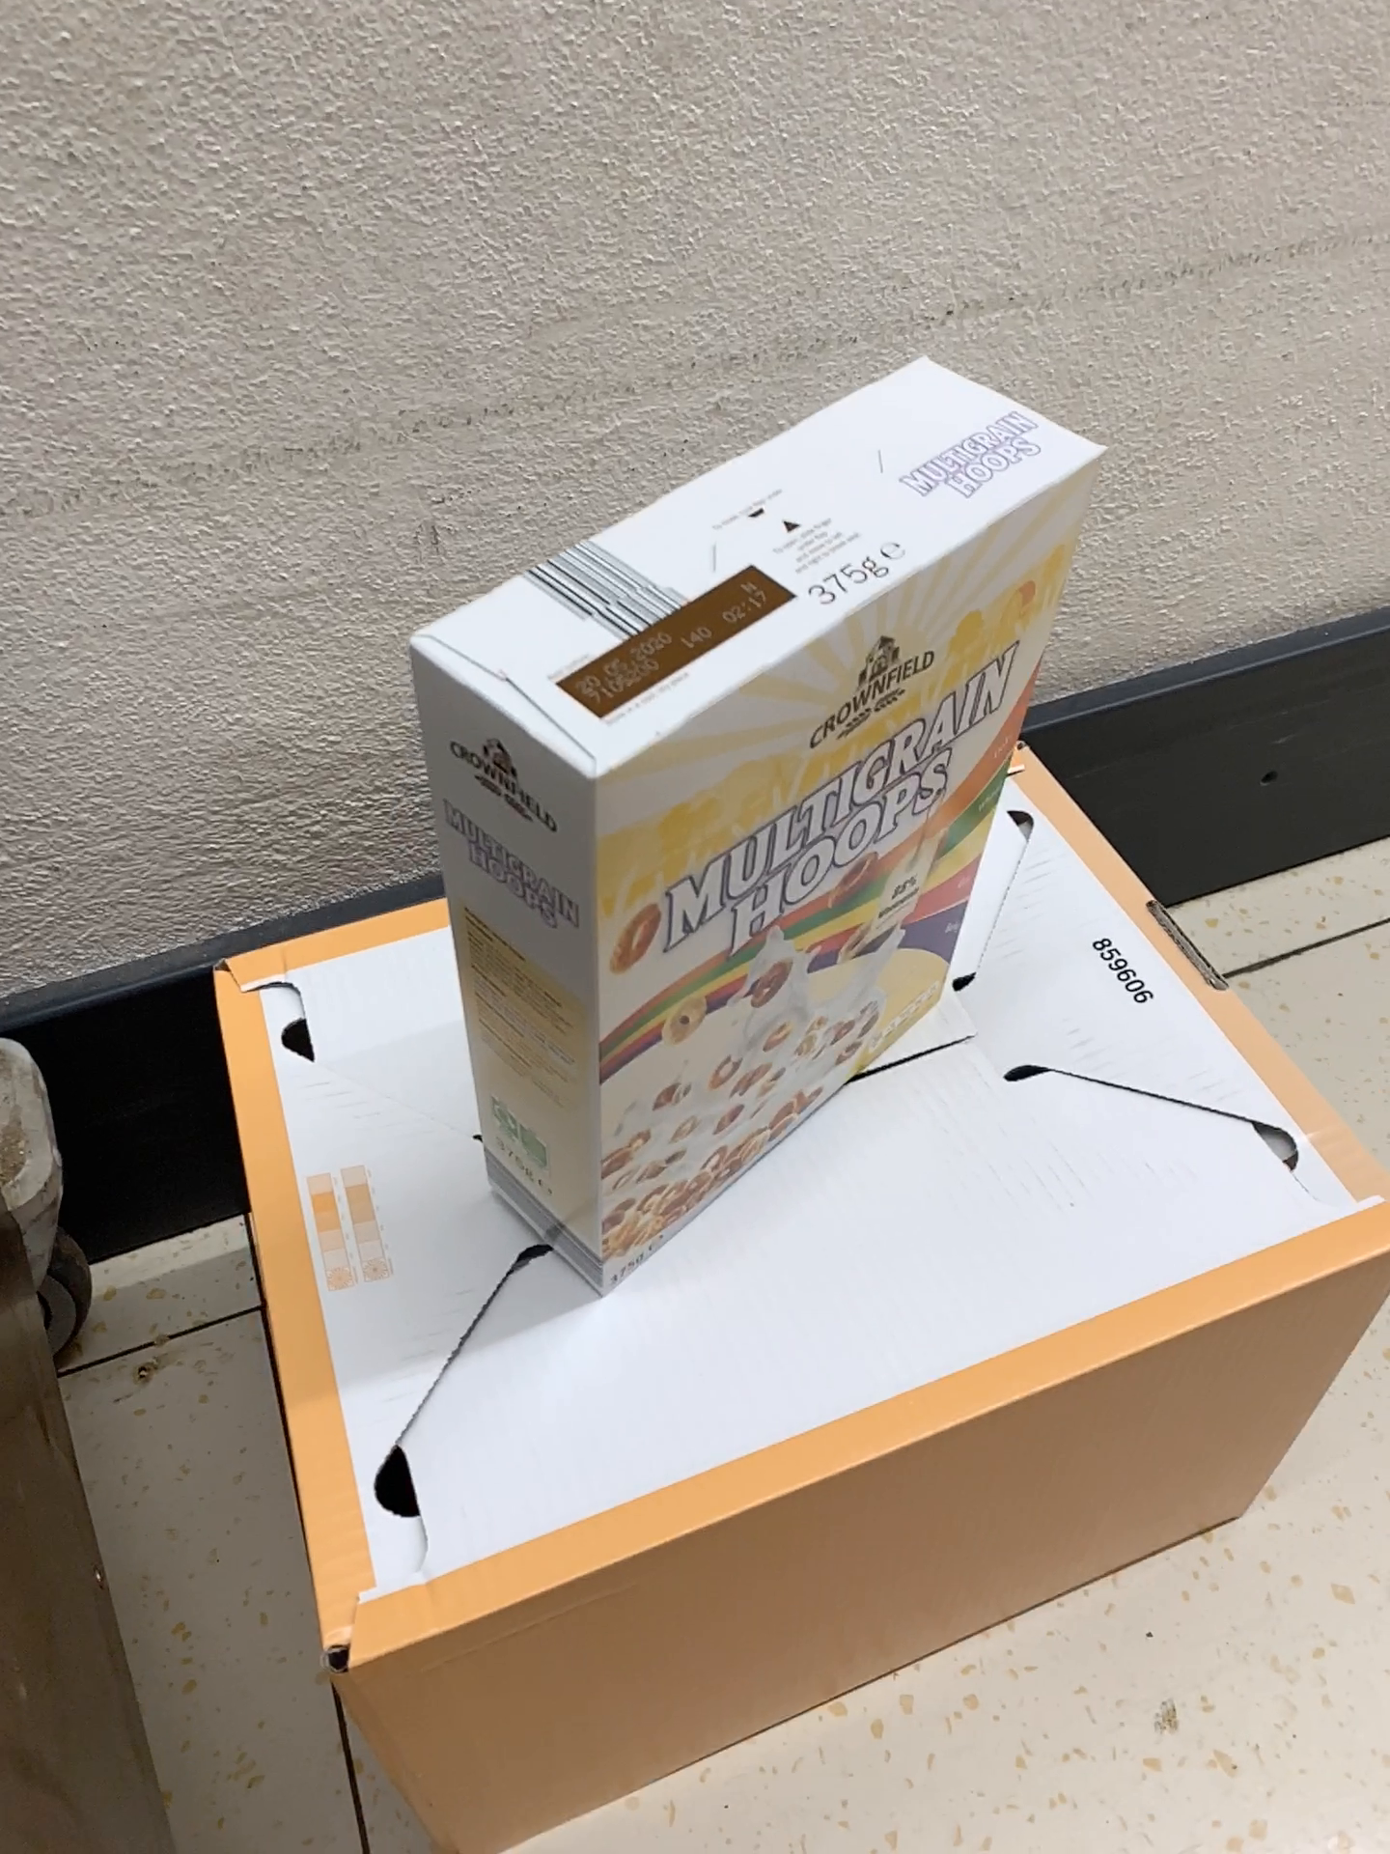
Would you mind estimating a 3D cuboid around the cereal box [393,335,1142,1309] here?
[{"bbox_3d":[0.020,-0.022,0.449,0.070,0.248,0.201,38,58,25],"label":"cereal box"}]
